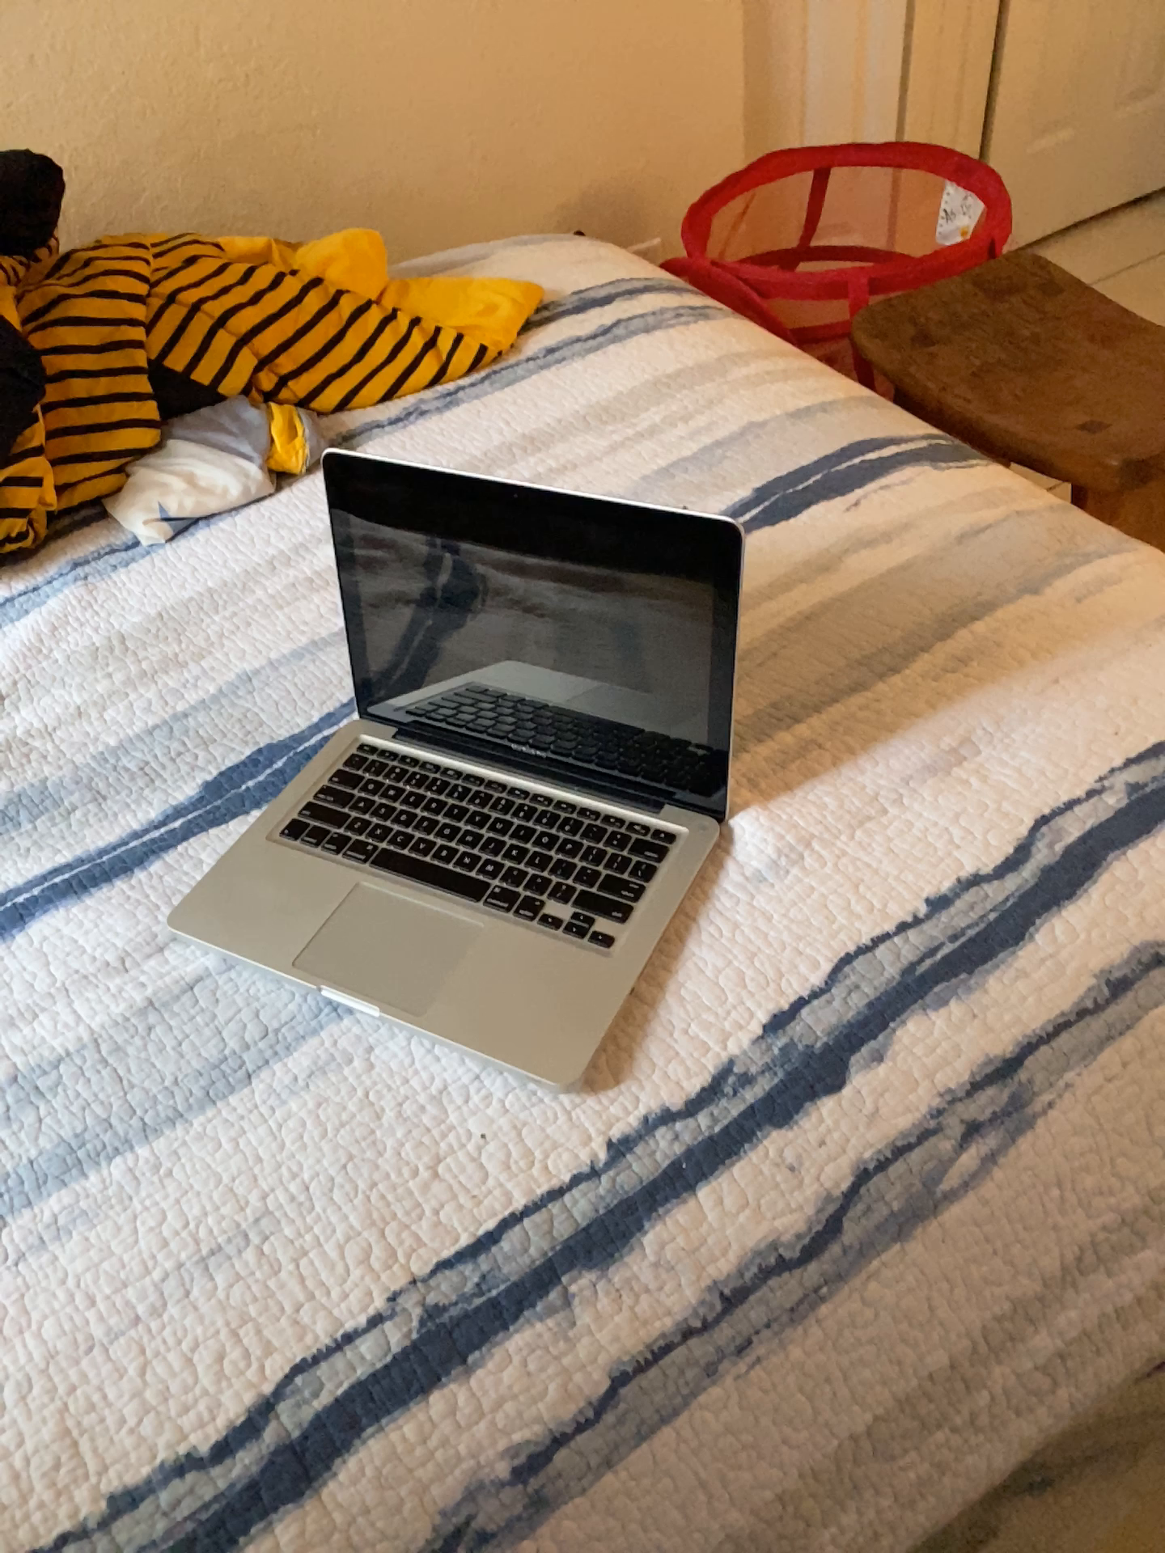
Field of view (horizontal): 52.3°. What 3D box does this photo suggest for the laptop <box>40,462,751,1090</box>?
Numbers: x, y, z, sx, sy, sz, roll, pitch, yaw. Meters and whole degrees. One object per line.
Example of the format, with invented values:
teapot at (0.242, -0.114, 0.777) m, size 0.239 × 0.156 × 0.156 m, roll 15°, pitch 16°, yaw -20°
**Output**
laptop at (-0.093, -0.021, 0.757) m, size 0.319 × 0.199 × 0.278 m, roll 16°, pitch 49°, yaw 24°
